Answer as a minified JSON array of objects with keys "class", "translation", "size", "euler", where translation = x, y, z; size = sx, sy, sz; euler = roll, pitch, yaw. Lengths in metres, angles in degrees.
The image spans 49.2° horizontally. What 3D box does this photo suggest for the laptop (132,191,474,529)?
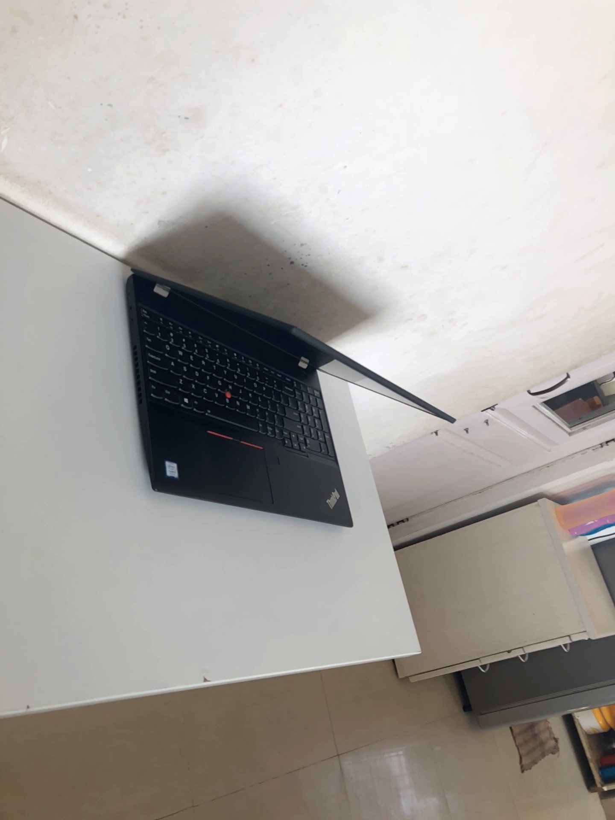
[{"class":"laptop","translation":[0.008,-0.025,0.763],"size":[0.348,0.173,0.234],"euler":[23,47,-51]}]
